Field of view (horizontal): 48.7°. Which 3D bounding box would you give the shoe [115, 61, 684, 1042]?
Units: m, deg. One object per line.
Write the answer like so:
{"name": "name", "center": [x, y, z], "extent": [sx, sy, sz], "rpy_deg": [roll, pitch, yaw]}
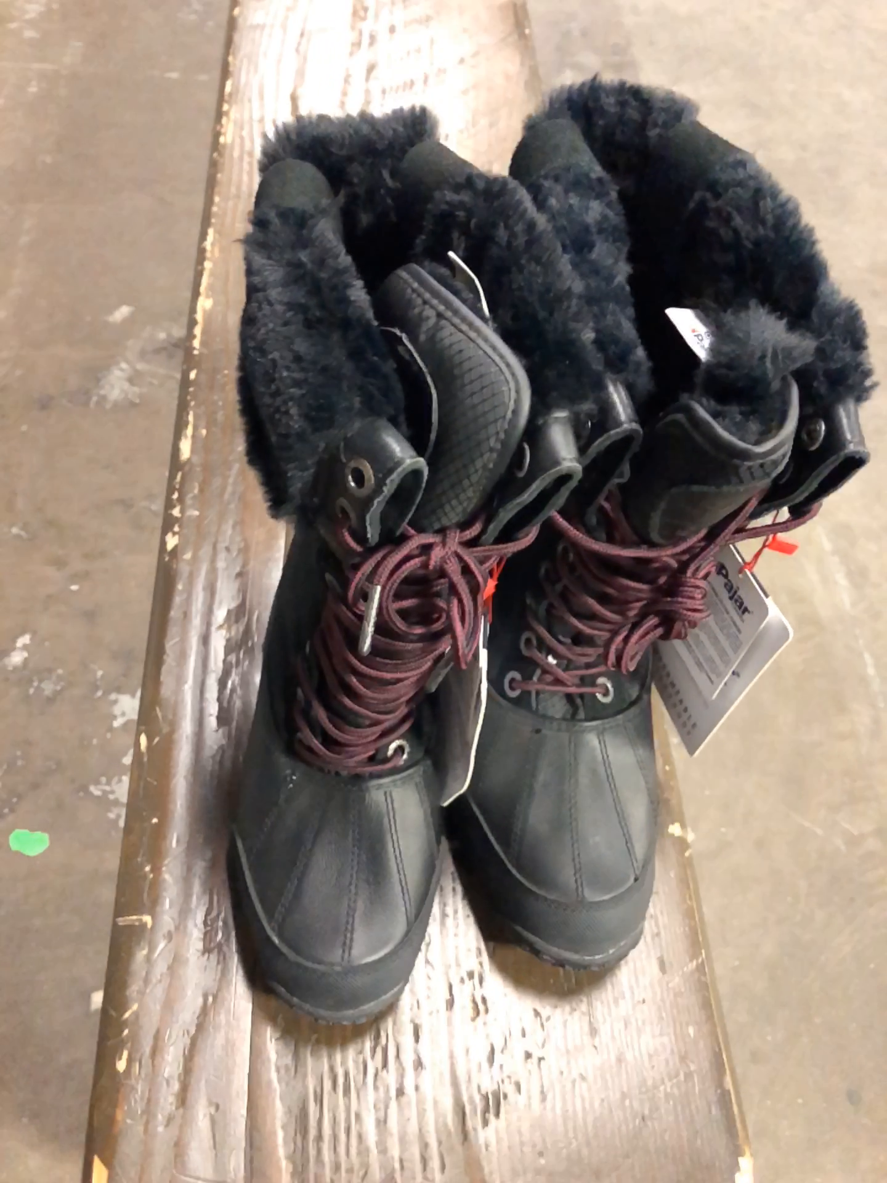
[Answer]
{"name": "shoe", "center": [-0.034, 0.008, 0.338], "extent": [0.100, 0.258, 0.221], "rpy_deg": [-3, 57, -9]}

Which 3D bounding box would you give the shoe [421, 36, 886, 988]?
{"name": "shoe", "center": [0.066, -0.010, 0.360], "extent": [0.100, 0.258, 0.231], "rpy_deg": [-3, 57, -9]}
